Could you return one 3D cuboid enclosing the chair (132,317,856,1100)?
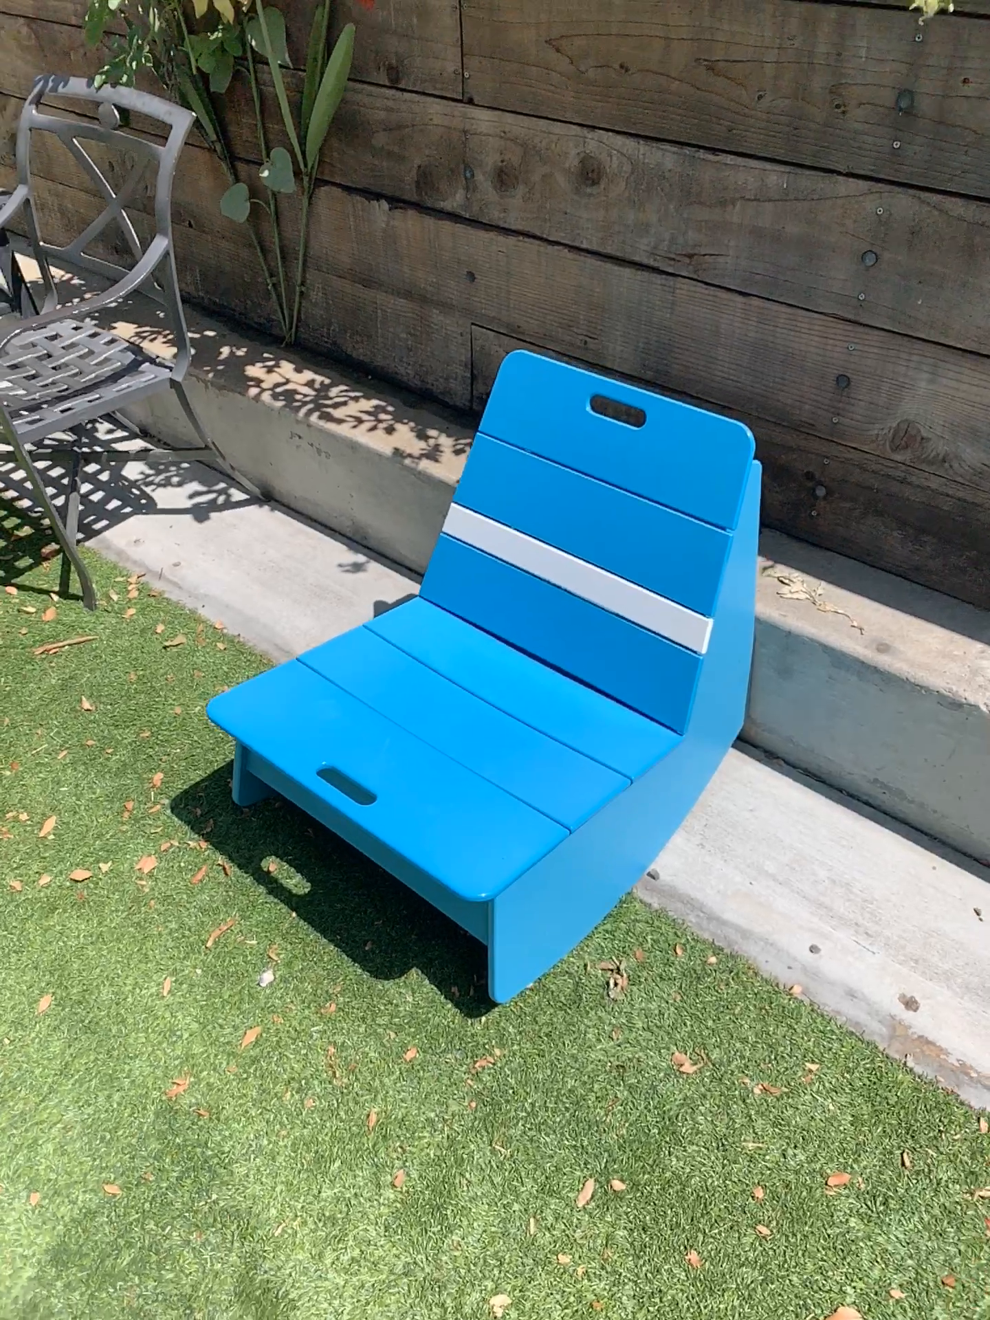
[{"bbox_3d":[0.025,0.038,1.542,0.592,0.745,0.721,31,52,32],"label":"chair"}]
